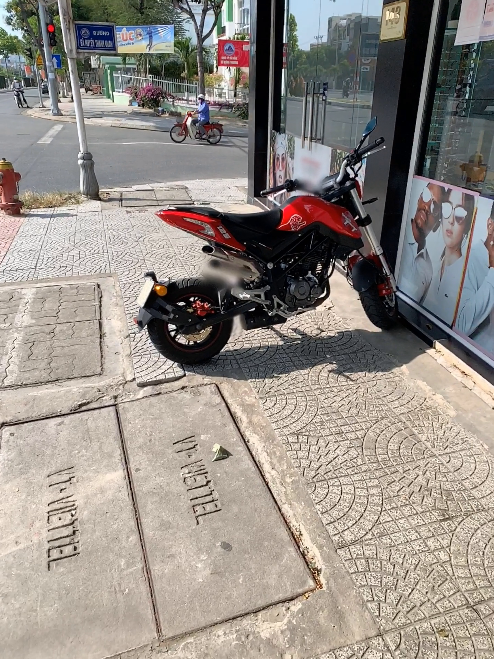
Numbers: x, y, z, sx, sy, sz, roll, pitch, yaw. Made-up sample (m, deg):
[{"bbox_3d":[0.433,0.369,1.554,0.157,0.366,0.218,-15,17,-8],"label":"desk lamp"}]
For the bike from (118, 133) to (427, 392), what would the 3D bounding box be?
[{"bbox_3d":[0.238,-0.638,3.459,2.122,1.216,0.835,-16,30,-32],"label":"bike"}]
